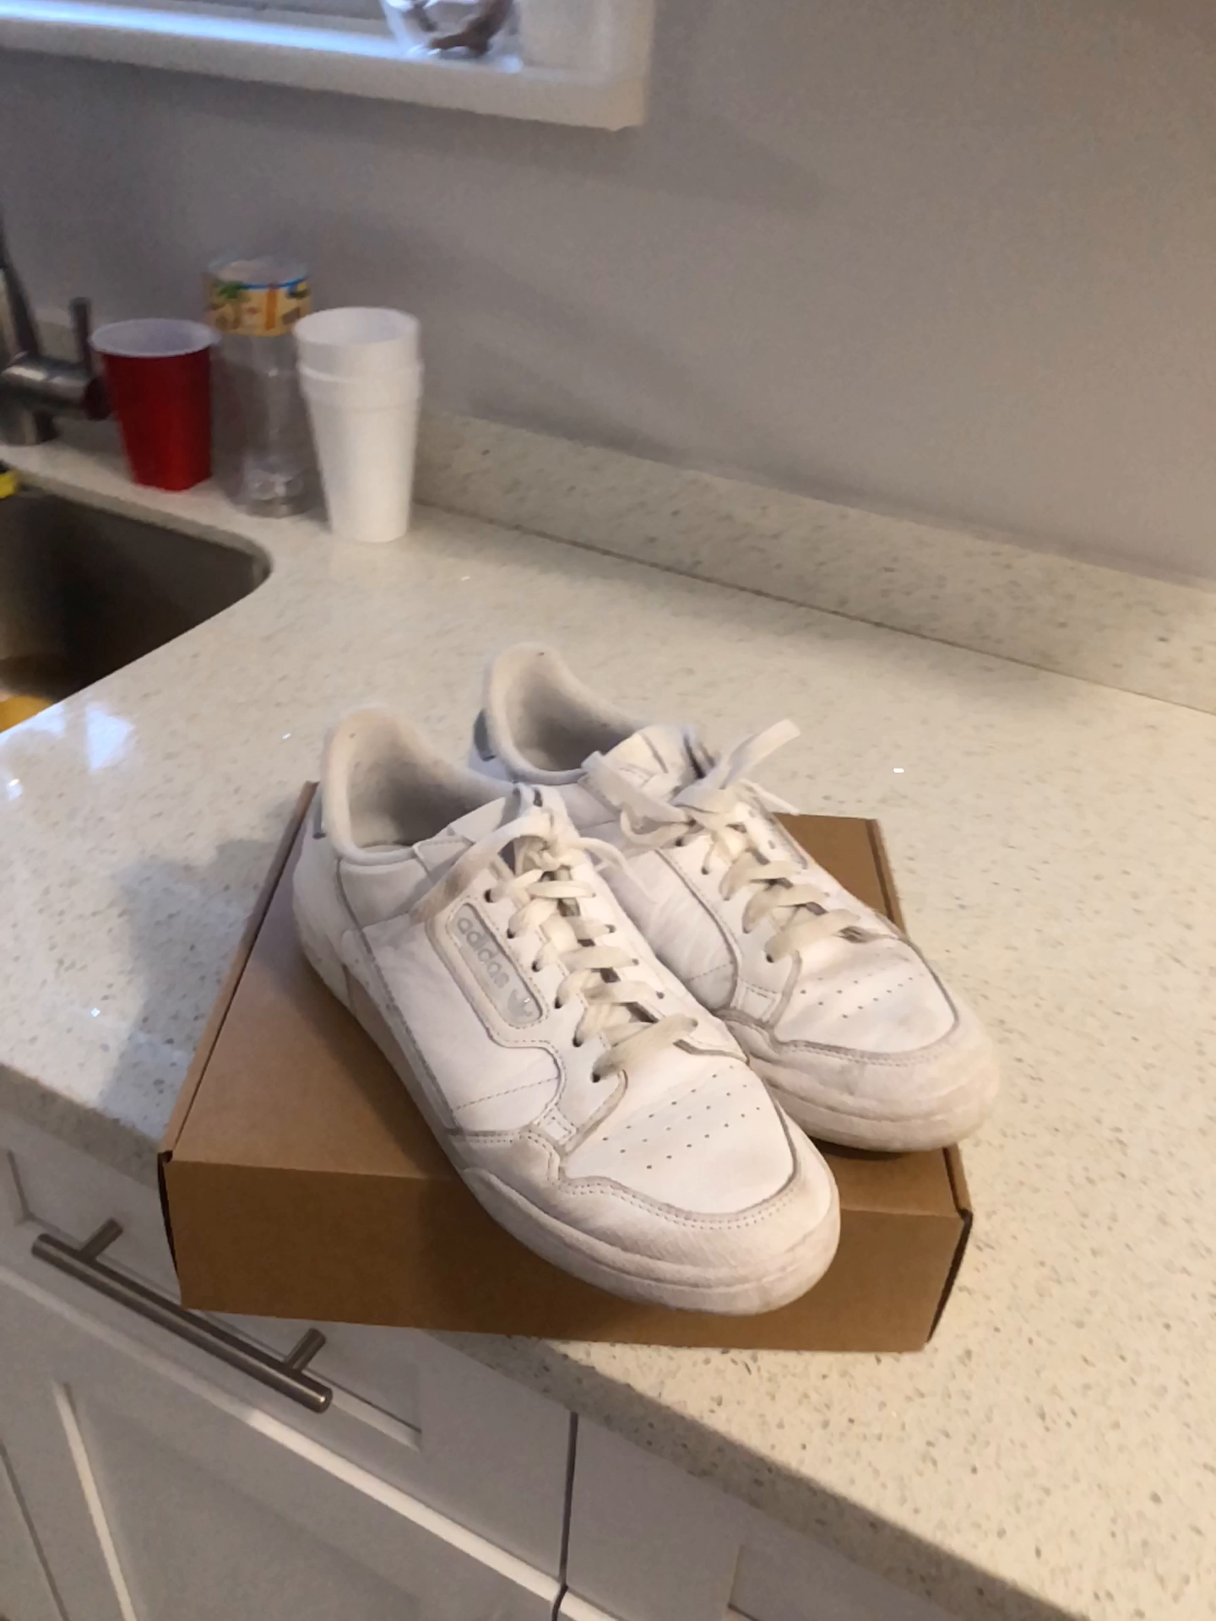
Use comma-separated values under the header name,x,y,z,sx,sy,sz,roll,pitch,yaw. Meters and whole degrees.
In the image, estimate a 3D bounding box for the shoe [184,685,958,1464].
name,x,y,z,sx,sy,sz,roll,pitch,yaw
shoe,-0.029,0.068,0.468,0.107,0.100,0.269,-24,43,-35

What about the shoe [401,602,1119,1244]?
name,x,y,z,sx,sy,sz,roll,pitch,yaw
shoe,0.041,0.024,0.529,0.107,0.100,0.269,-24,43,-35
